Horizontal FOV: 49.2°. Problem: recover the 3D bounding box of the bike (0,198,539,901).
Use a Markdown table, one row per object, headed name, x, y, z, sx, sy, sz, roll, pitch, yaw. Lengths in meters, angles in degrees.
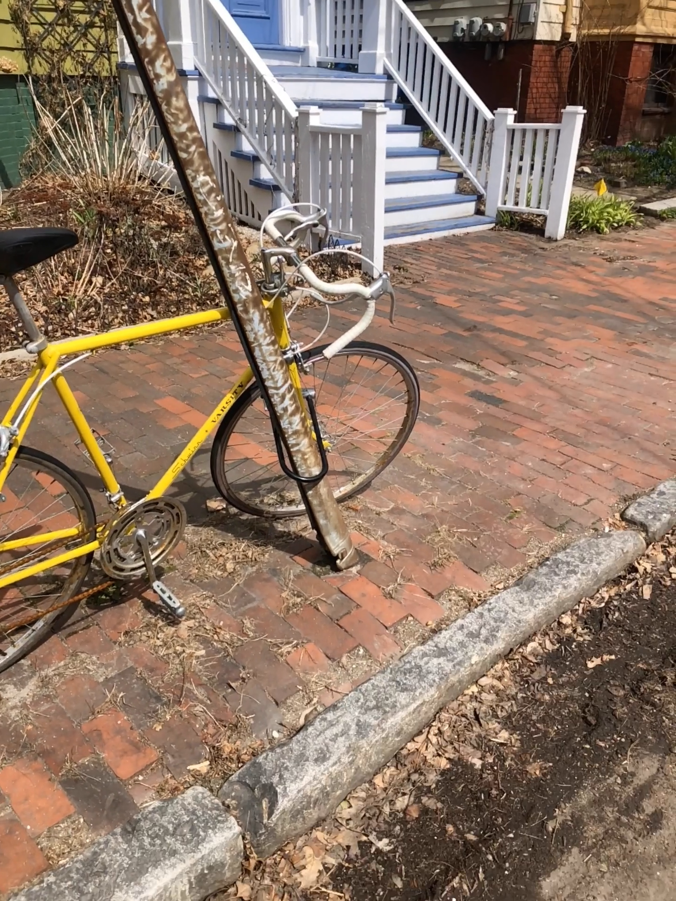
| name | x | y | z | sx | sy | sz | roll | pitch | yaw |
| --- | --- | --- | --- | --- | --- | --- | --- | --- | --- |
| bike | -0.335 | 0.033 | 1.712 | 1.709 | 0.854 | 0.524 | -24 | 35 | -34 |
